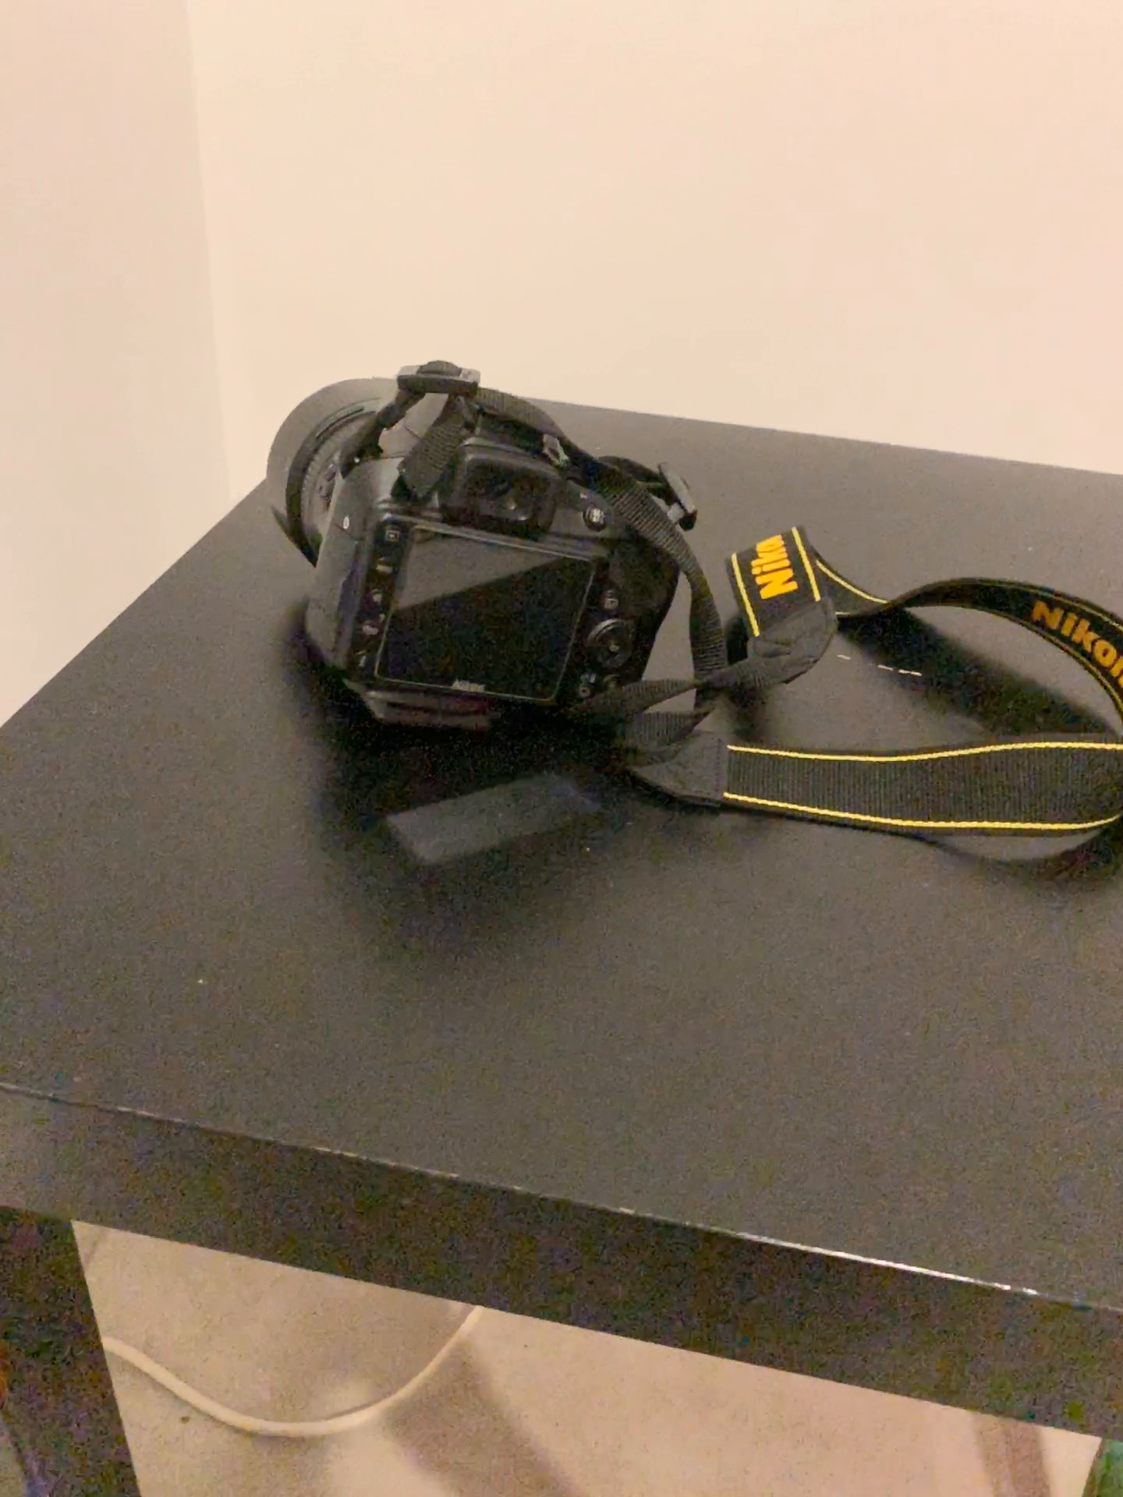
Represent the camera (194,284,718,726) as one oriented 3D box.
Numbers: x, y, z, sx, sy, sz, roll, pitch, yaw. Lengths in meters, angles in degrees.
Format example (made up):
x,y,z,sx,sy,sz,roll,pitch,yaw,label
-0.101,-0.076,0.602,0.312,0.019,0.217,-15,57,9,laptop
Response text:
x,y,z,sx,sy,sz,roll,pitch,yaw,label
-0.058,-0.103,0.451,0.116,0.089,0.221,7,23,-30,camera
